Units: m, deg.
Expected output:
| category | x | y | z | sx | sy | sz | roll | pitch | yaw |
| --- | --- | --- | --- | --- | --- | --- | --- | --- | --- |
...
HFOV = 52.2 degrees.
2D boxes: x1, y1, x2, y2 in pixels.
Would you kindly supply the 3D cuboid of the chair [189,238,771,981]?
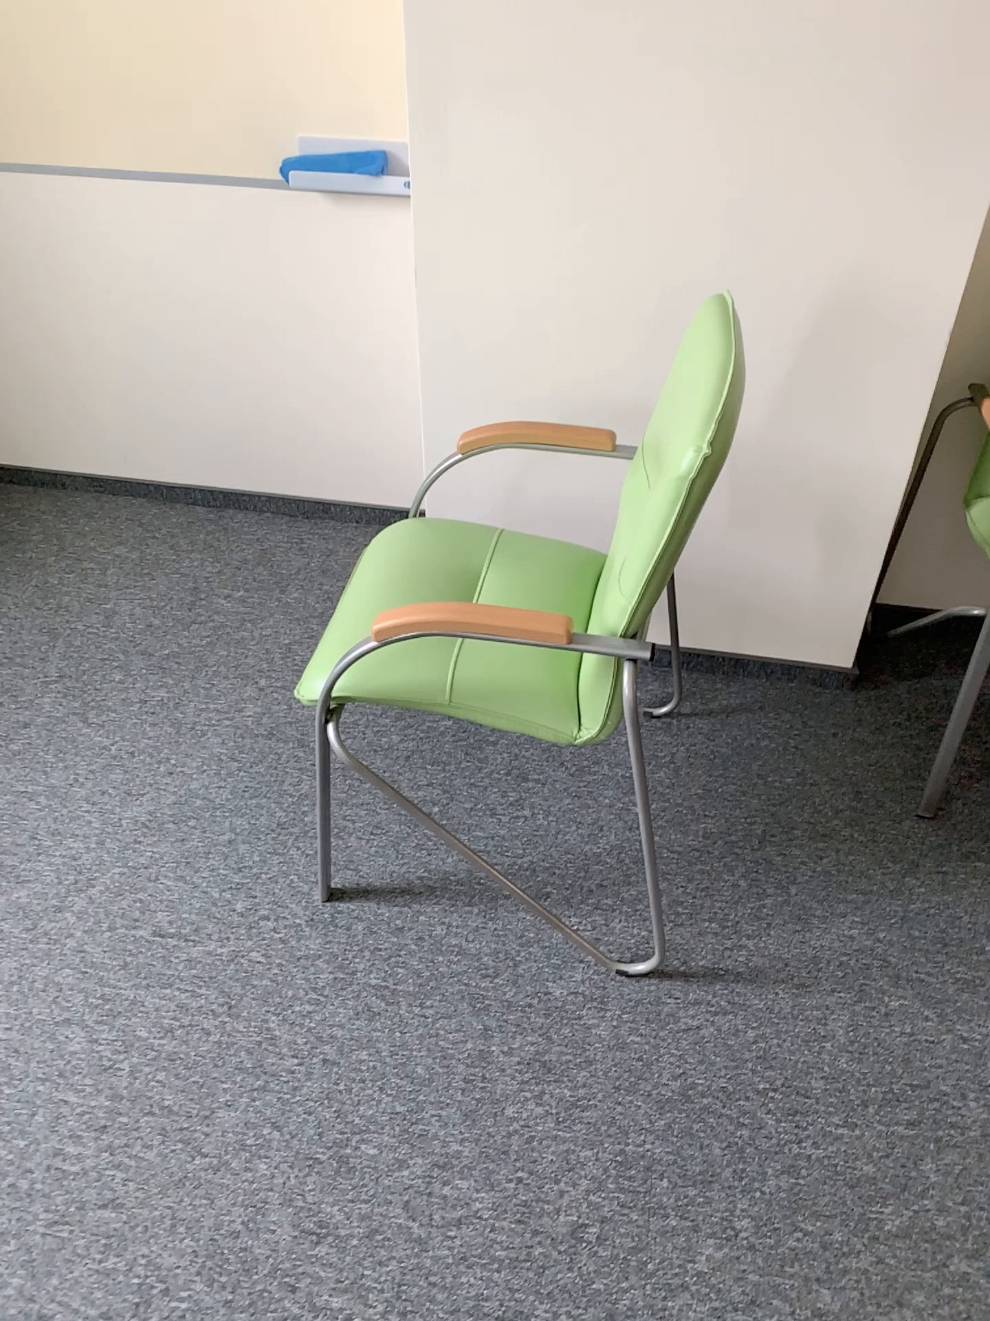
| category | x | y | z | sx | sy | sz | roll | pitch | yaw |
| --- | --- | --- | --- | --- | --- | --- | --- | --- | --- |
| chair | 0.031 | -0.080 | 1.563 | 0.620 | 0.875 | 0.624 | 8 | 40 | 9 |
